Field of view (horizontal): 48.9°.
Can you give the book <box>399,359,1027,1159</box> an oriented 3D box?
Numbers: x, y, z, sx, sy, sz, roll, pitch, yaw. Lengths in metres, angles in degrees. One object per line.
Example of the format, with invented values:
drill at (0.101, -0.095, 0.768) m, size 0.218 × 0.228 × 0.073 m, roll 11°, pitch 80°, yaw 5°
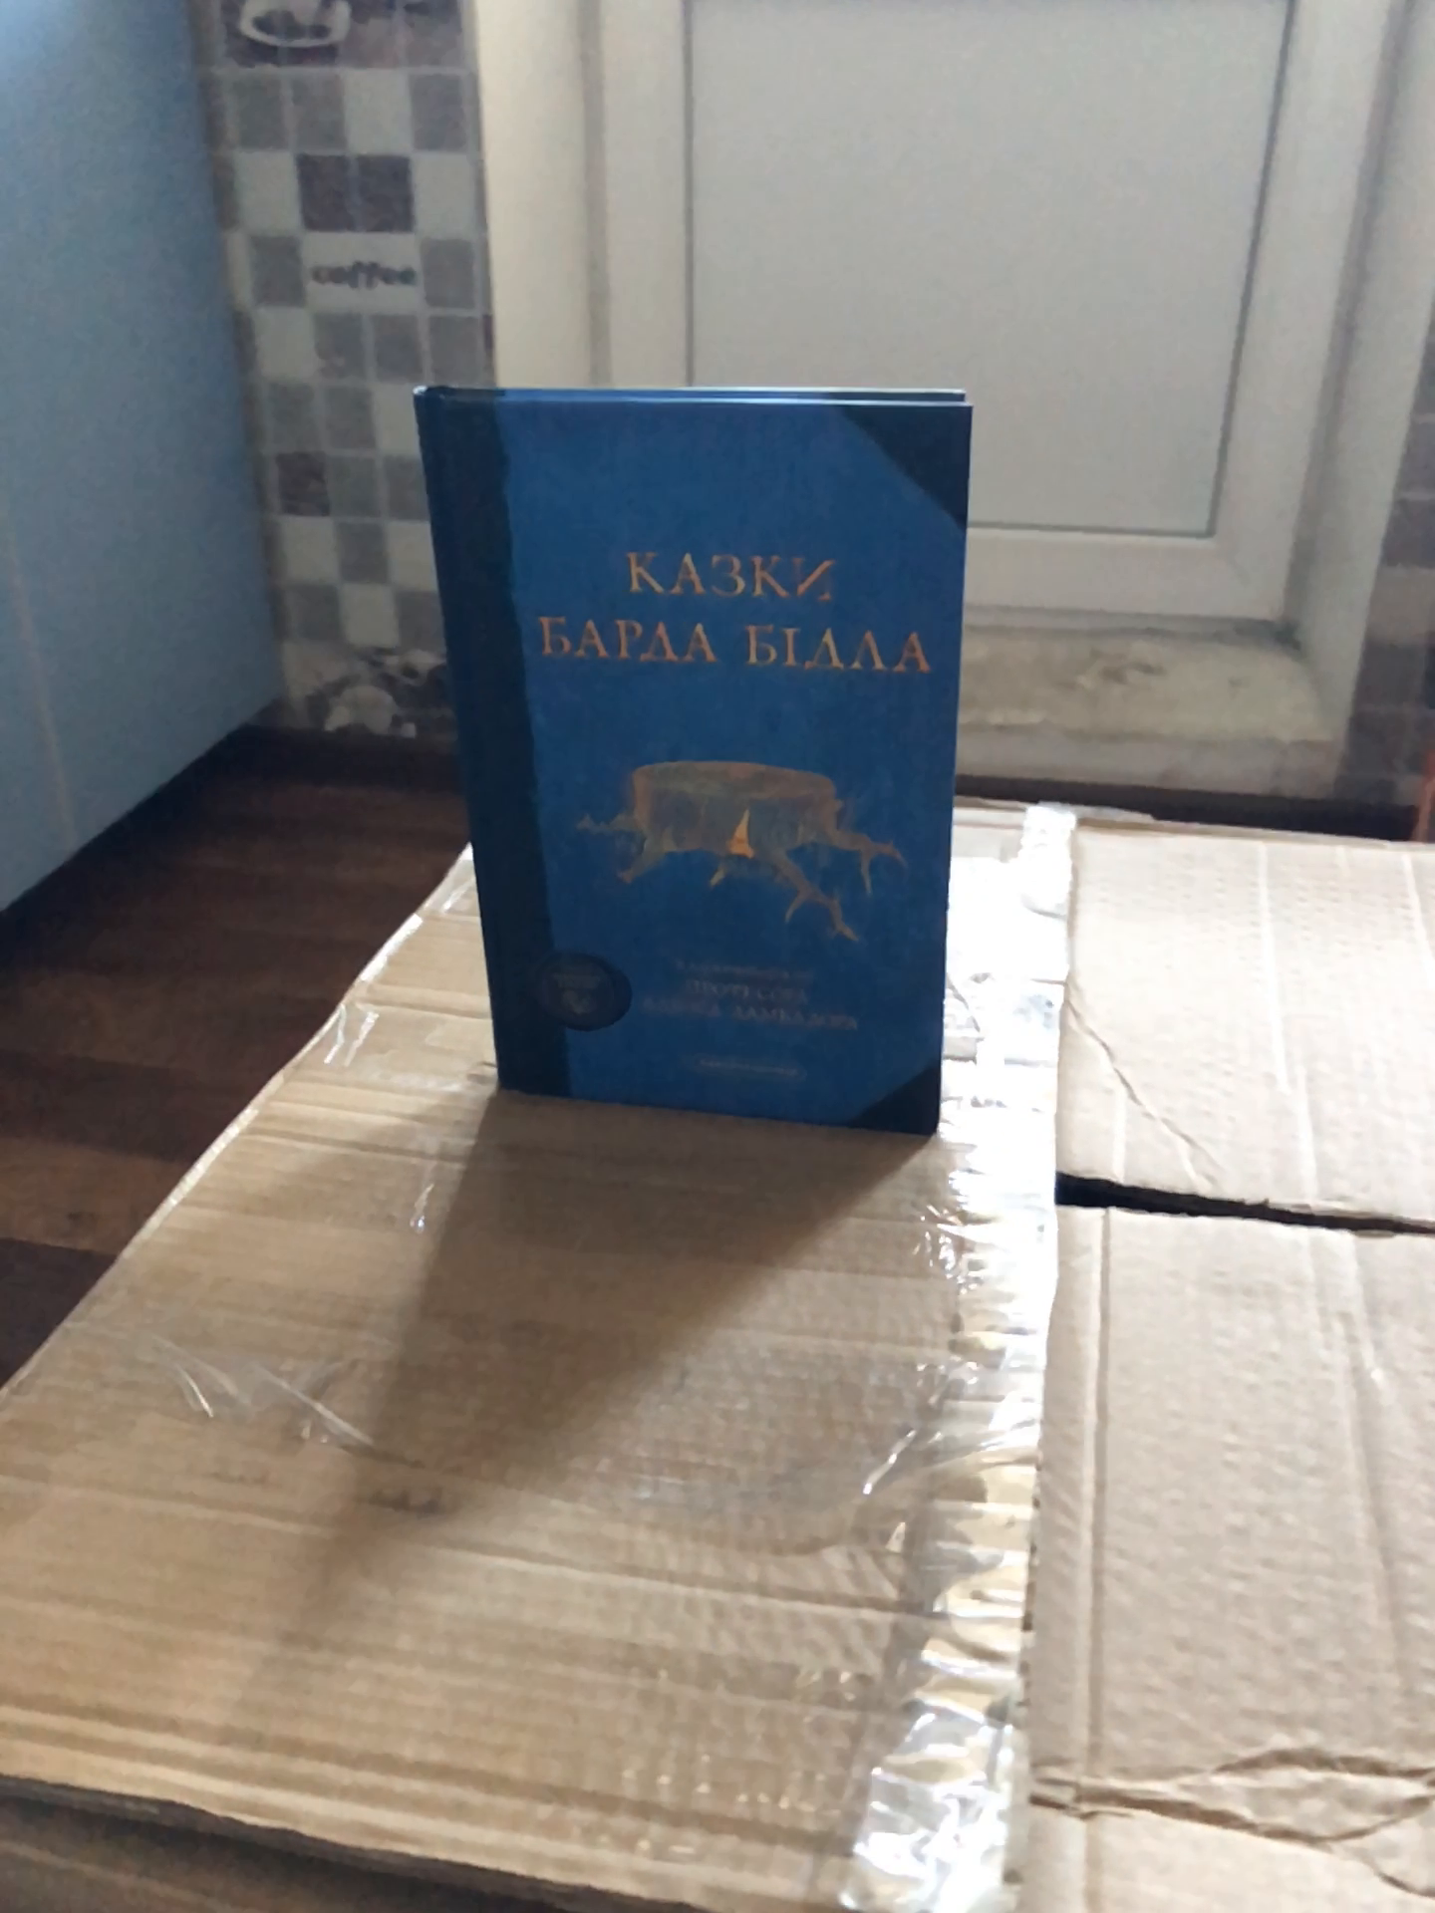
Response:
book at (-0.002, -0.047, 0.415) m, size 0.144 × 0.199 × 0.030 m, roll 6°, pitch 28°, yaw 11°
